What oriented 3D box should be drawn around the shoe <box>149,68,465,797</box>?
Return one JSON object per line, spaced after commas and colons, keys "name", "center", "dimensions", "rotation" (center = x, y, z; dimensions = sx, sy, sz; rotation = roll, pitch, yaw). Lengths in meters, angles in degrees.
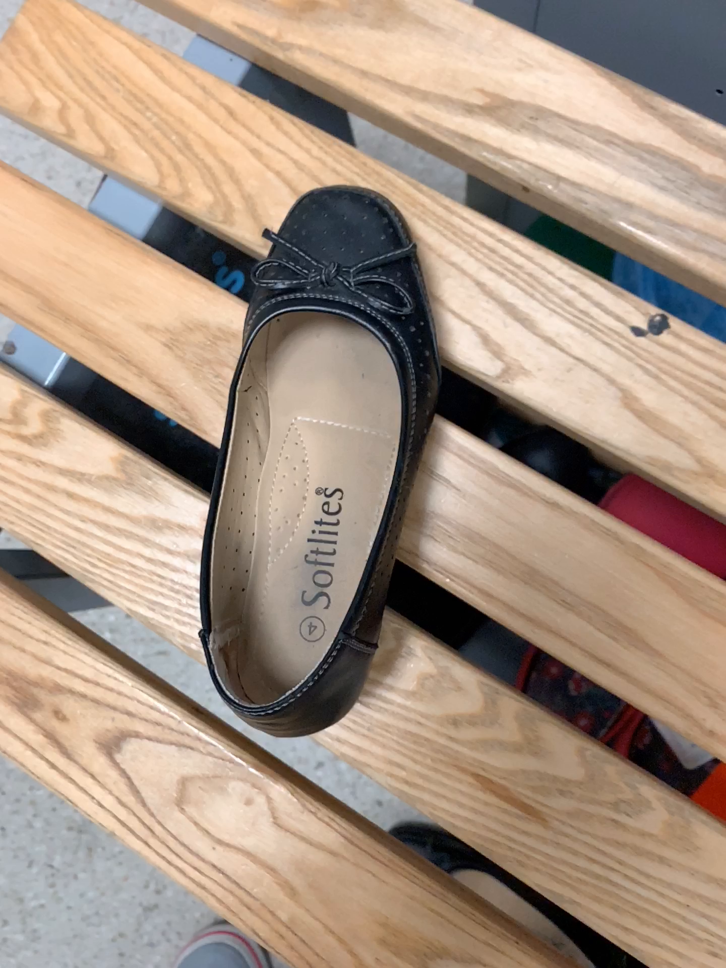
{"name": "shoe", "center": [-0.012, -0.023, 0.333], "dimensions": [0.087, 0.109, 0.272], "rotation": [5, 81, 7]}
